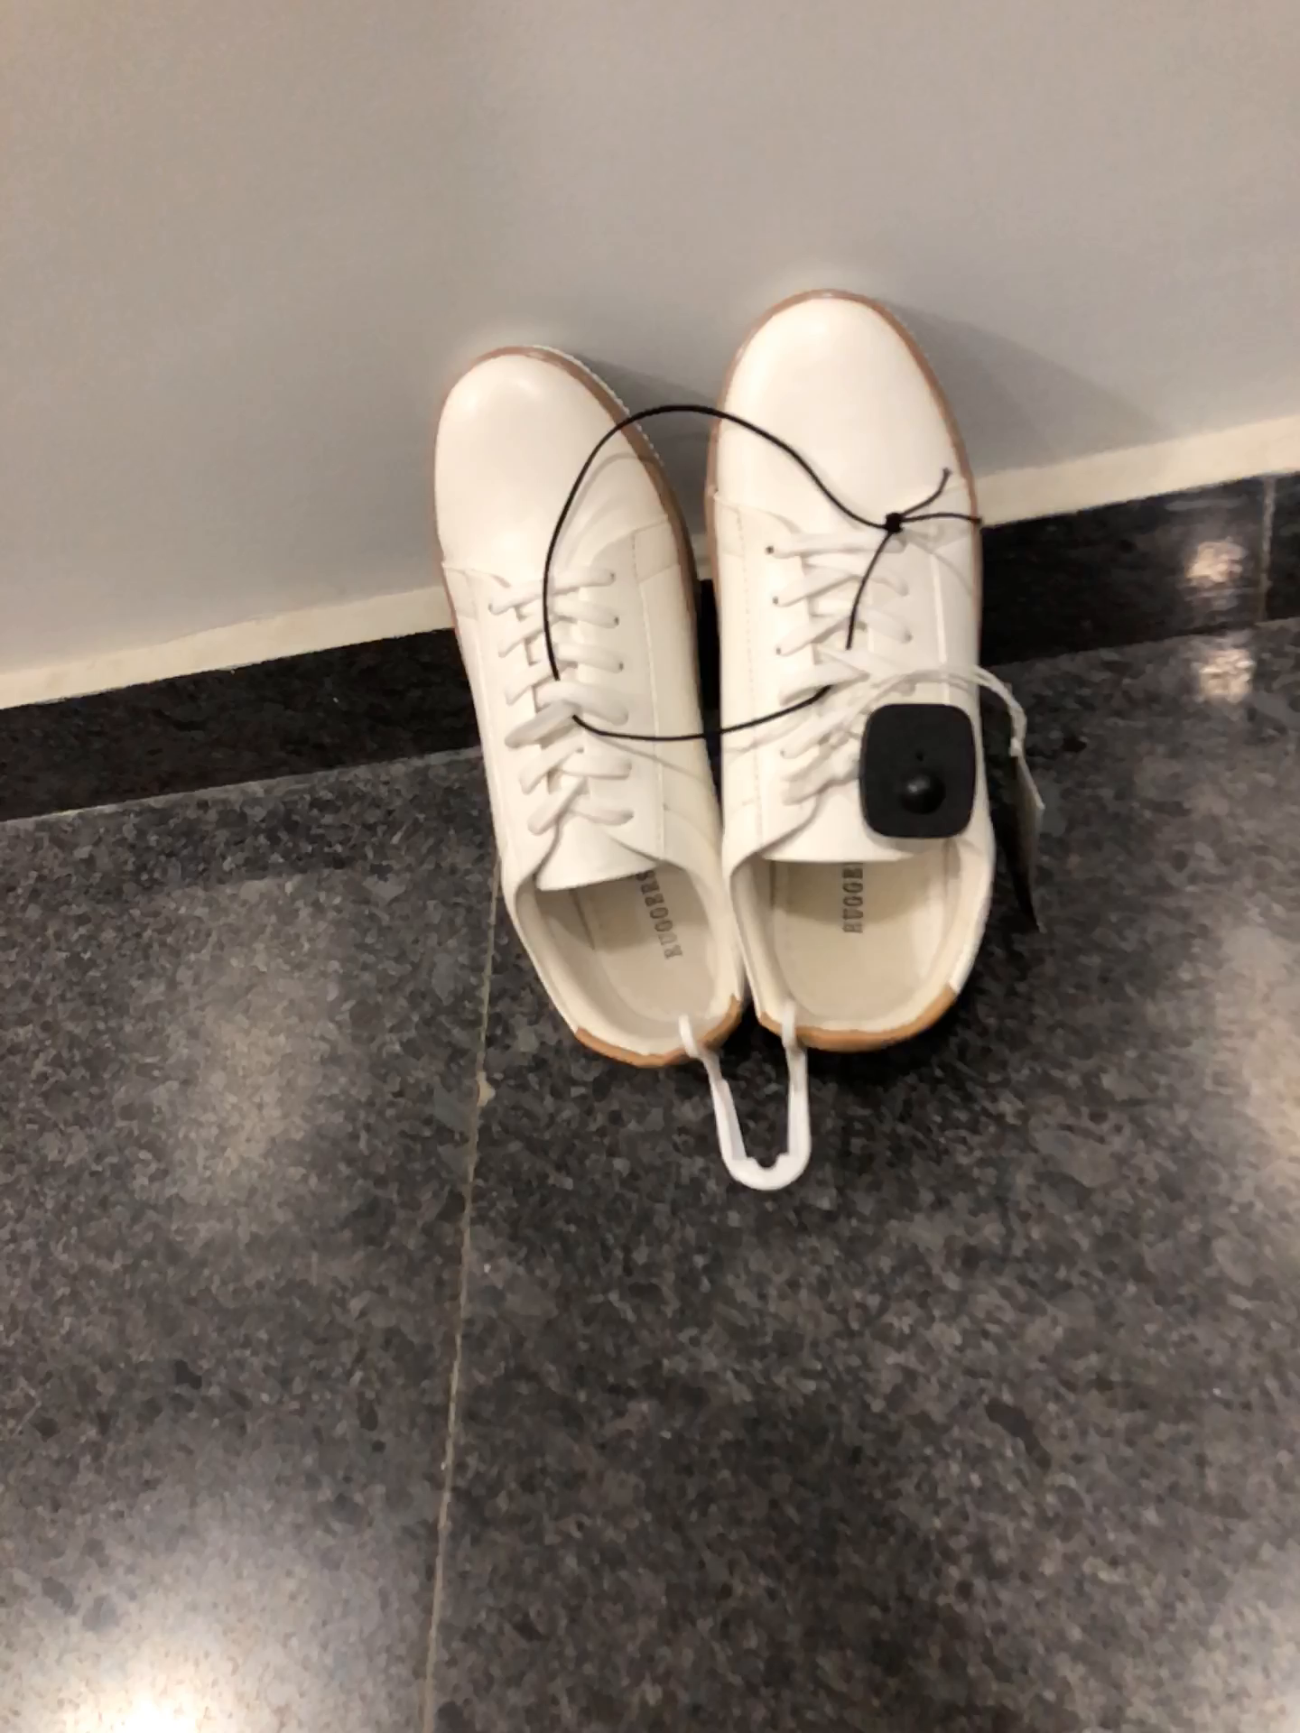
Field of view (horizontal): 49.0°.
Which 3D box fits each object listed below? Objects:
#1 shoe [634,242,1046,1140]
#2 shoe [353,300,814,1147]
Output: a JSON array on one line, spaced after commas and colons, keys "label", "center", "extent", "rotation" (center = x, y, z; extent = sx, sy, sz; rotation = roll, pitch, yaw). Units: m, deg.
[{"label": "shoe", "center": [0.072, -0.055, 0.500], "extent": [0.107, 0.104, 0.273], "rotation": [-4, 100, 12]}, {"label": "shoe", "center": [-0.017, -0.046, 0.521], "extent": [0.101, 0.087, 0.272], "rotation": [-7, 98, 17]}]
